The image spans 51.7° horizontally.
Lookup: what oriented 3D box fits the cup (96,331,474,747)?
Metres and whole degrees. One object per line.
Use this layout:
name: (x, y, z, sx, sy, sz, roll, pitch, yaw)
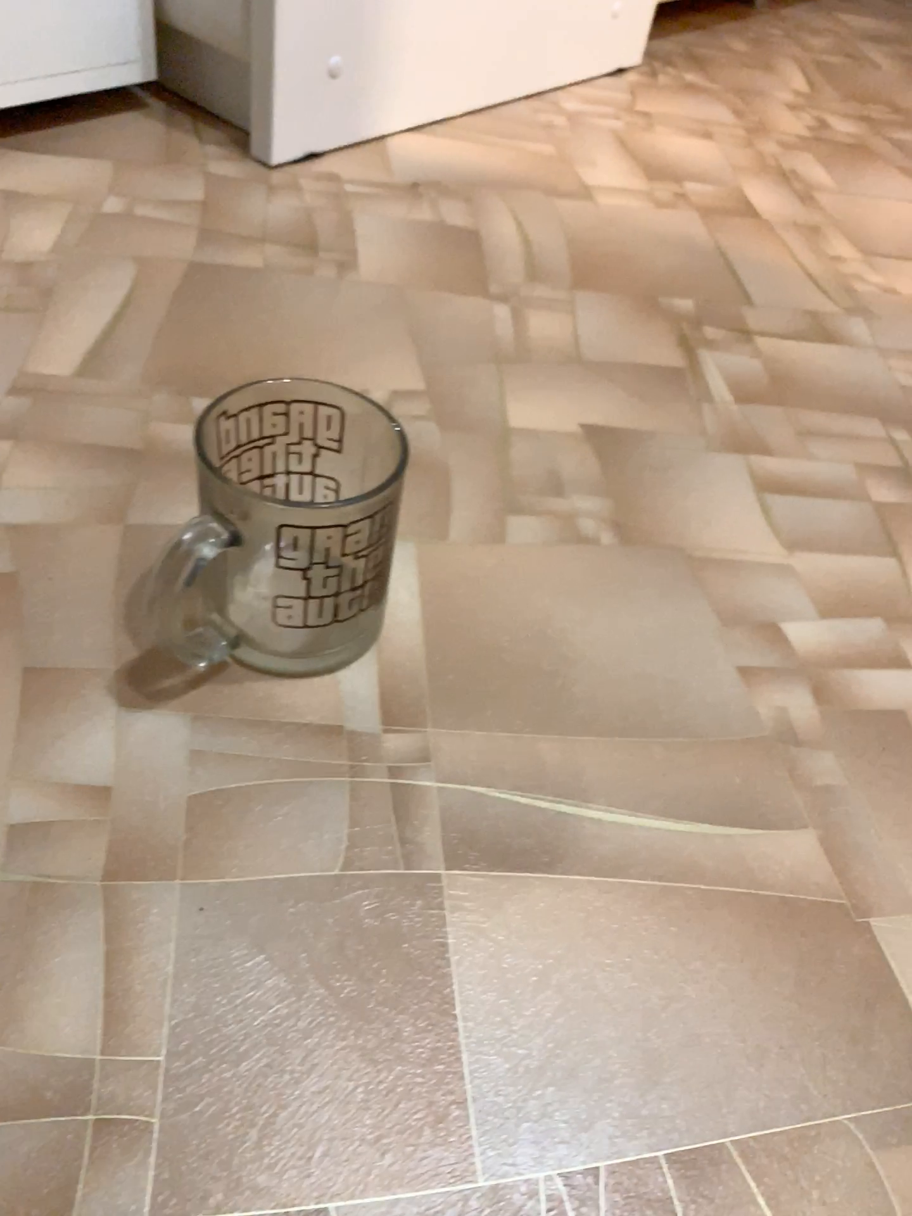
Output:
cup: (-0.063, -0.028, 0.355, 0.082, 0.097, 0.098, 36, 50, 21)
